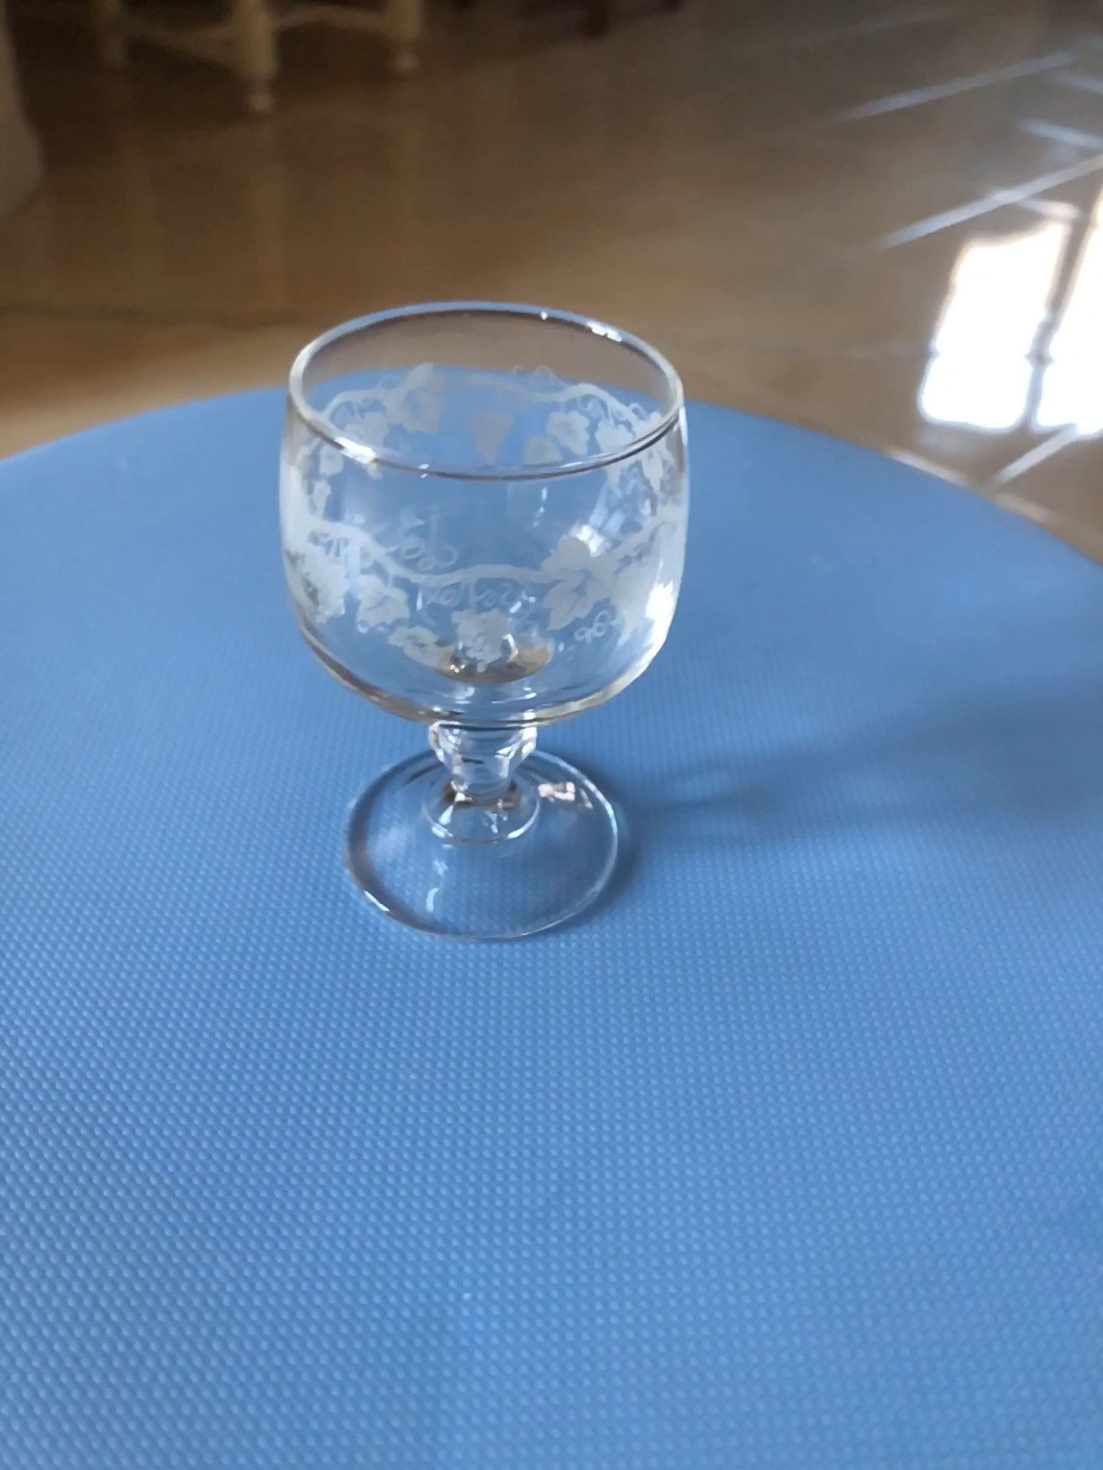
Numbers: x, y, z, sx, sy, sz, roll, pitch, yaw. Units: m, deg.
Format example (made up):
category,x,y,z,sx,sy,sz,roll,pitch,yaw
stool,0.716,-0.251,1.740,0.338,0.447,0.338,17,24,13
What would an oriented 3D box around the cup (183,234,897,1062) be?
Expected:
category,x,y,z,sx,sy,sz,roll,pitch,yaw
cup,-0.002,-0.014,0.172,0.060,0.079,0.060,2,40,-2
